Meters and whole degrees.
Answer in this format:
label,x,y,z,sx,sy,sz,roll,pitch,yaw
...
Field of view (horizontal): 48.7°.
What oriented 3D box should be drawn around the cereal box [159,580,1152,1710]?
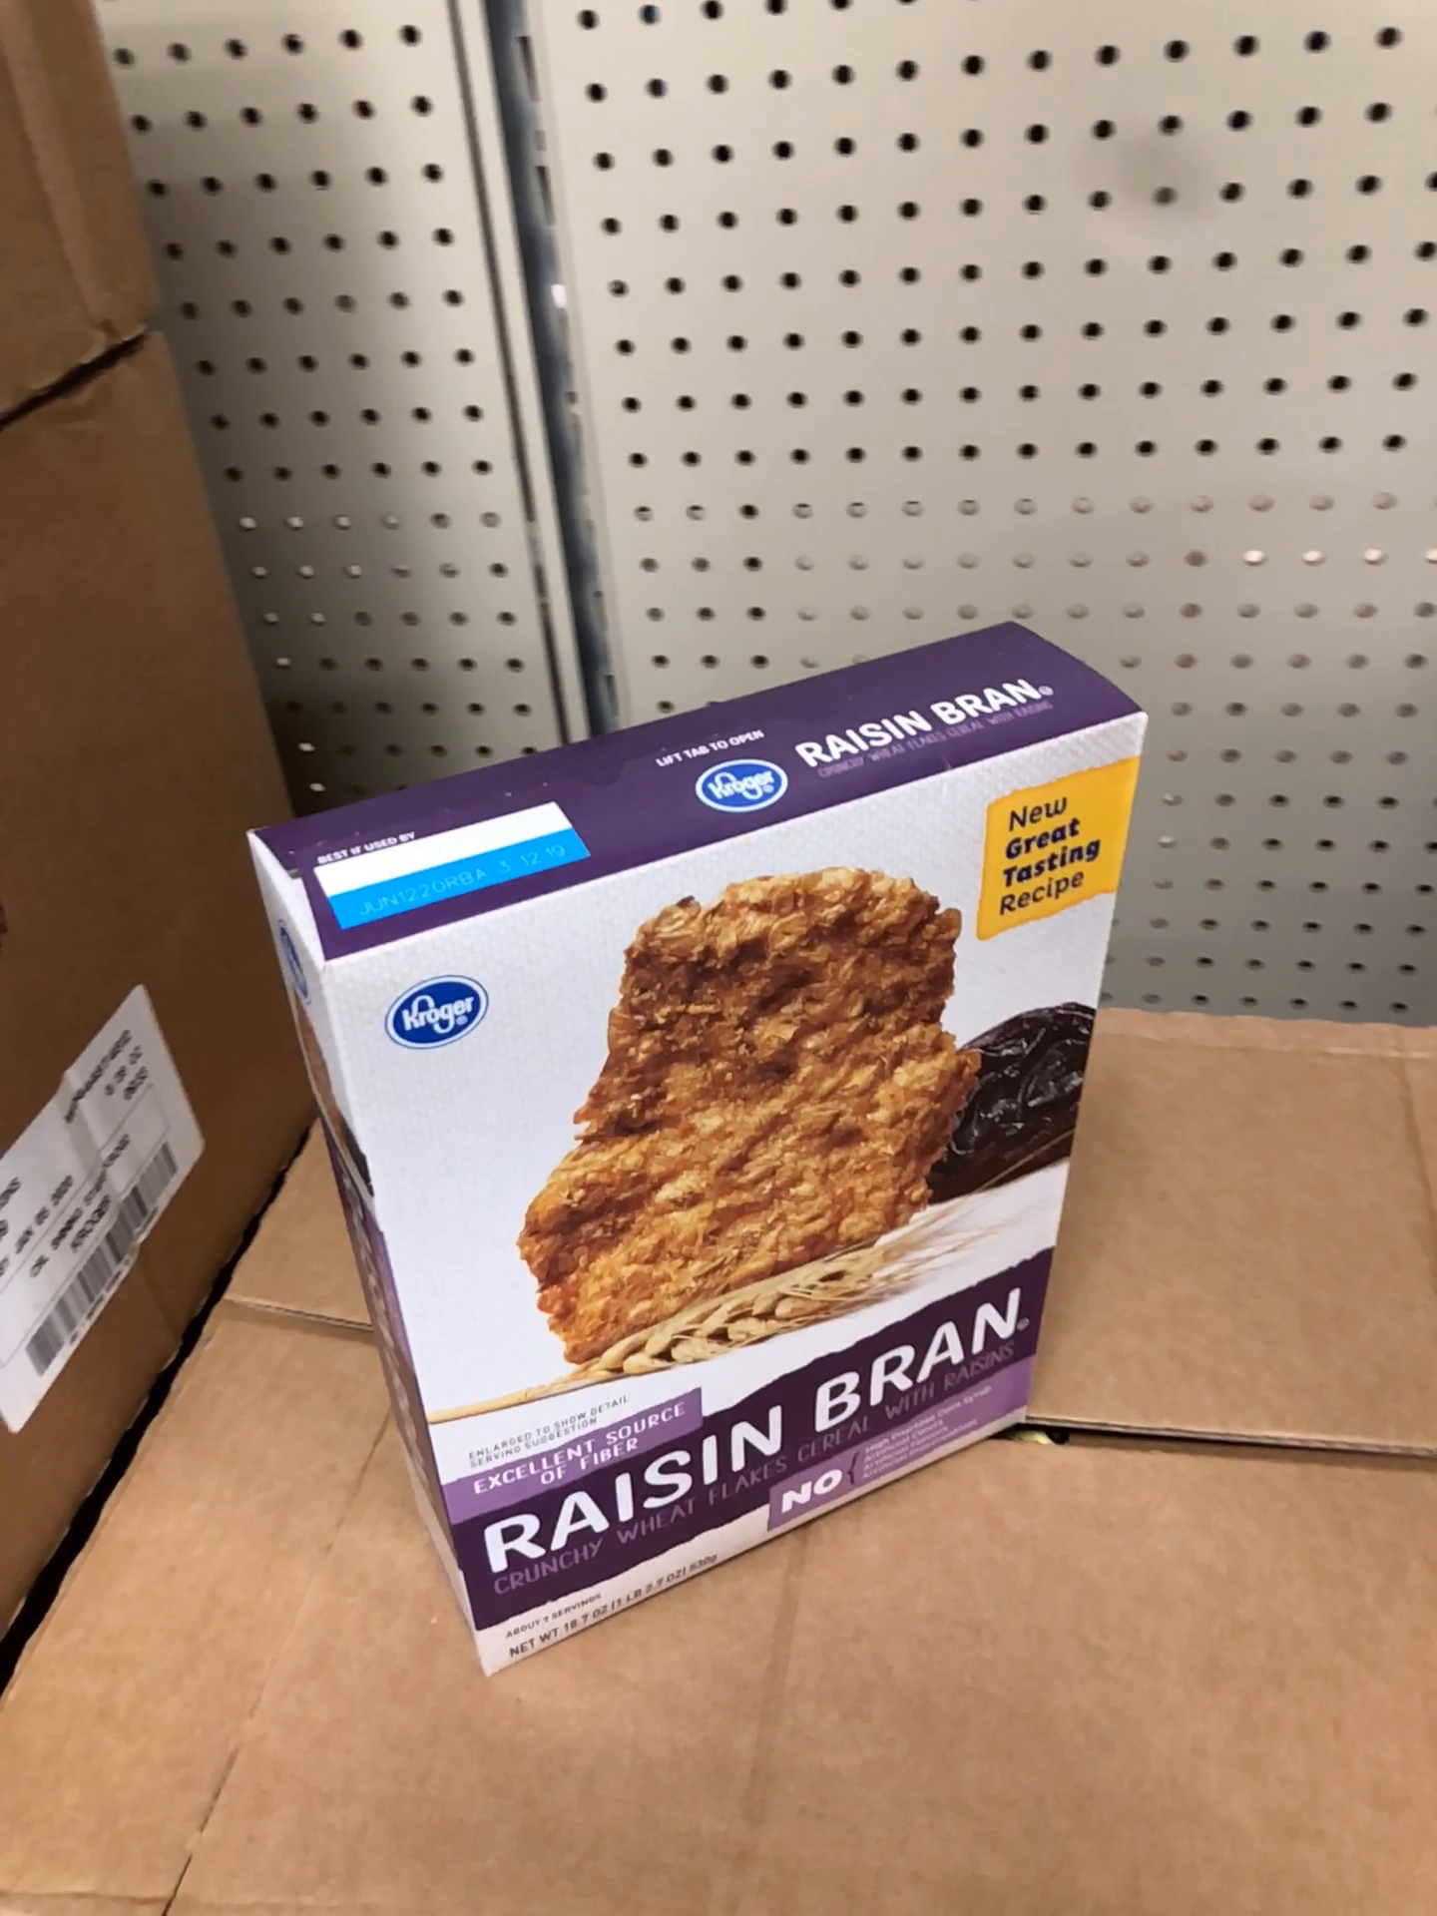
label,x,y,z,sx,sy,sz,roll,pitch,yaw
cereal box,-0.003,0.064,0.402,0.190,0.279,0.050,-19,44,-17
